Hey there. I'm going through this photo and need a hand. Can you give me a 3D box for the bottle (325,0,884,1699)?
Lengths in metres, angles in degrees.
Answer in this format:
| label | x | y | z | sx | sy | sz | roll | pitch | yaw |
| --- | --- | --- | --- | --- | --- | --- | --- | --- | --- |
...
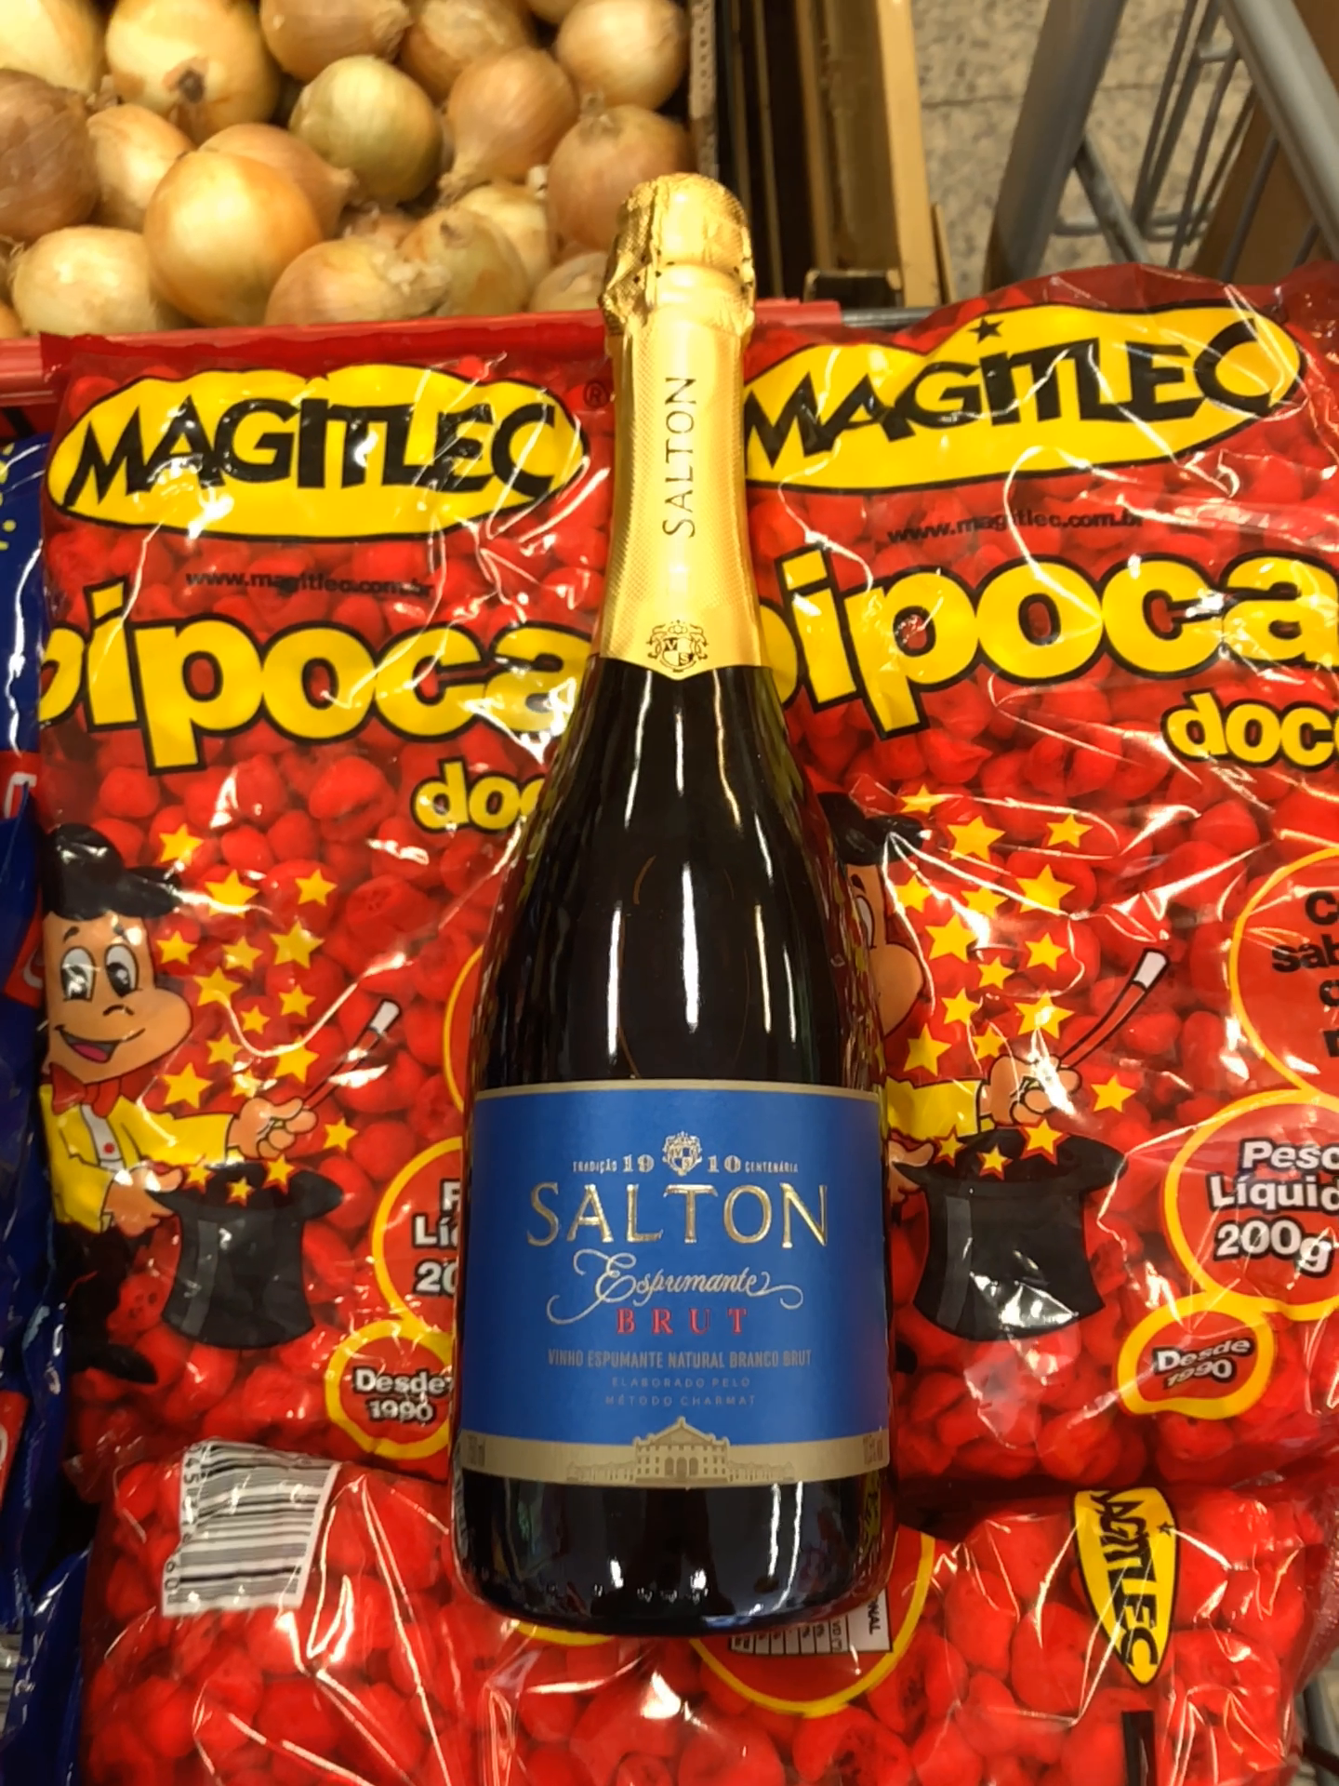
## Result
| label | x | y | z | sx | sy | sz | roll | pitch | yaw |
| --- | --- | --- | --- | --- | --- | --- | --- | --- | --- |
| bottle | -0.011 | -0.016 | 0.306 | 0.090 | 0.080 | 0.310 | 0 | 80 | 1 |
